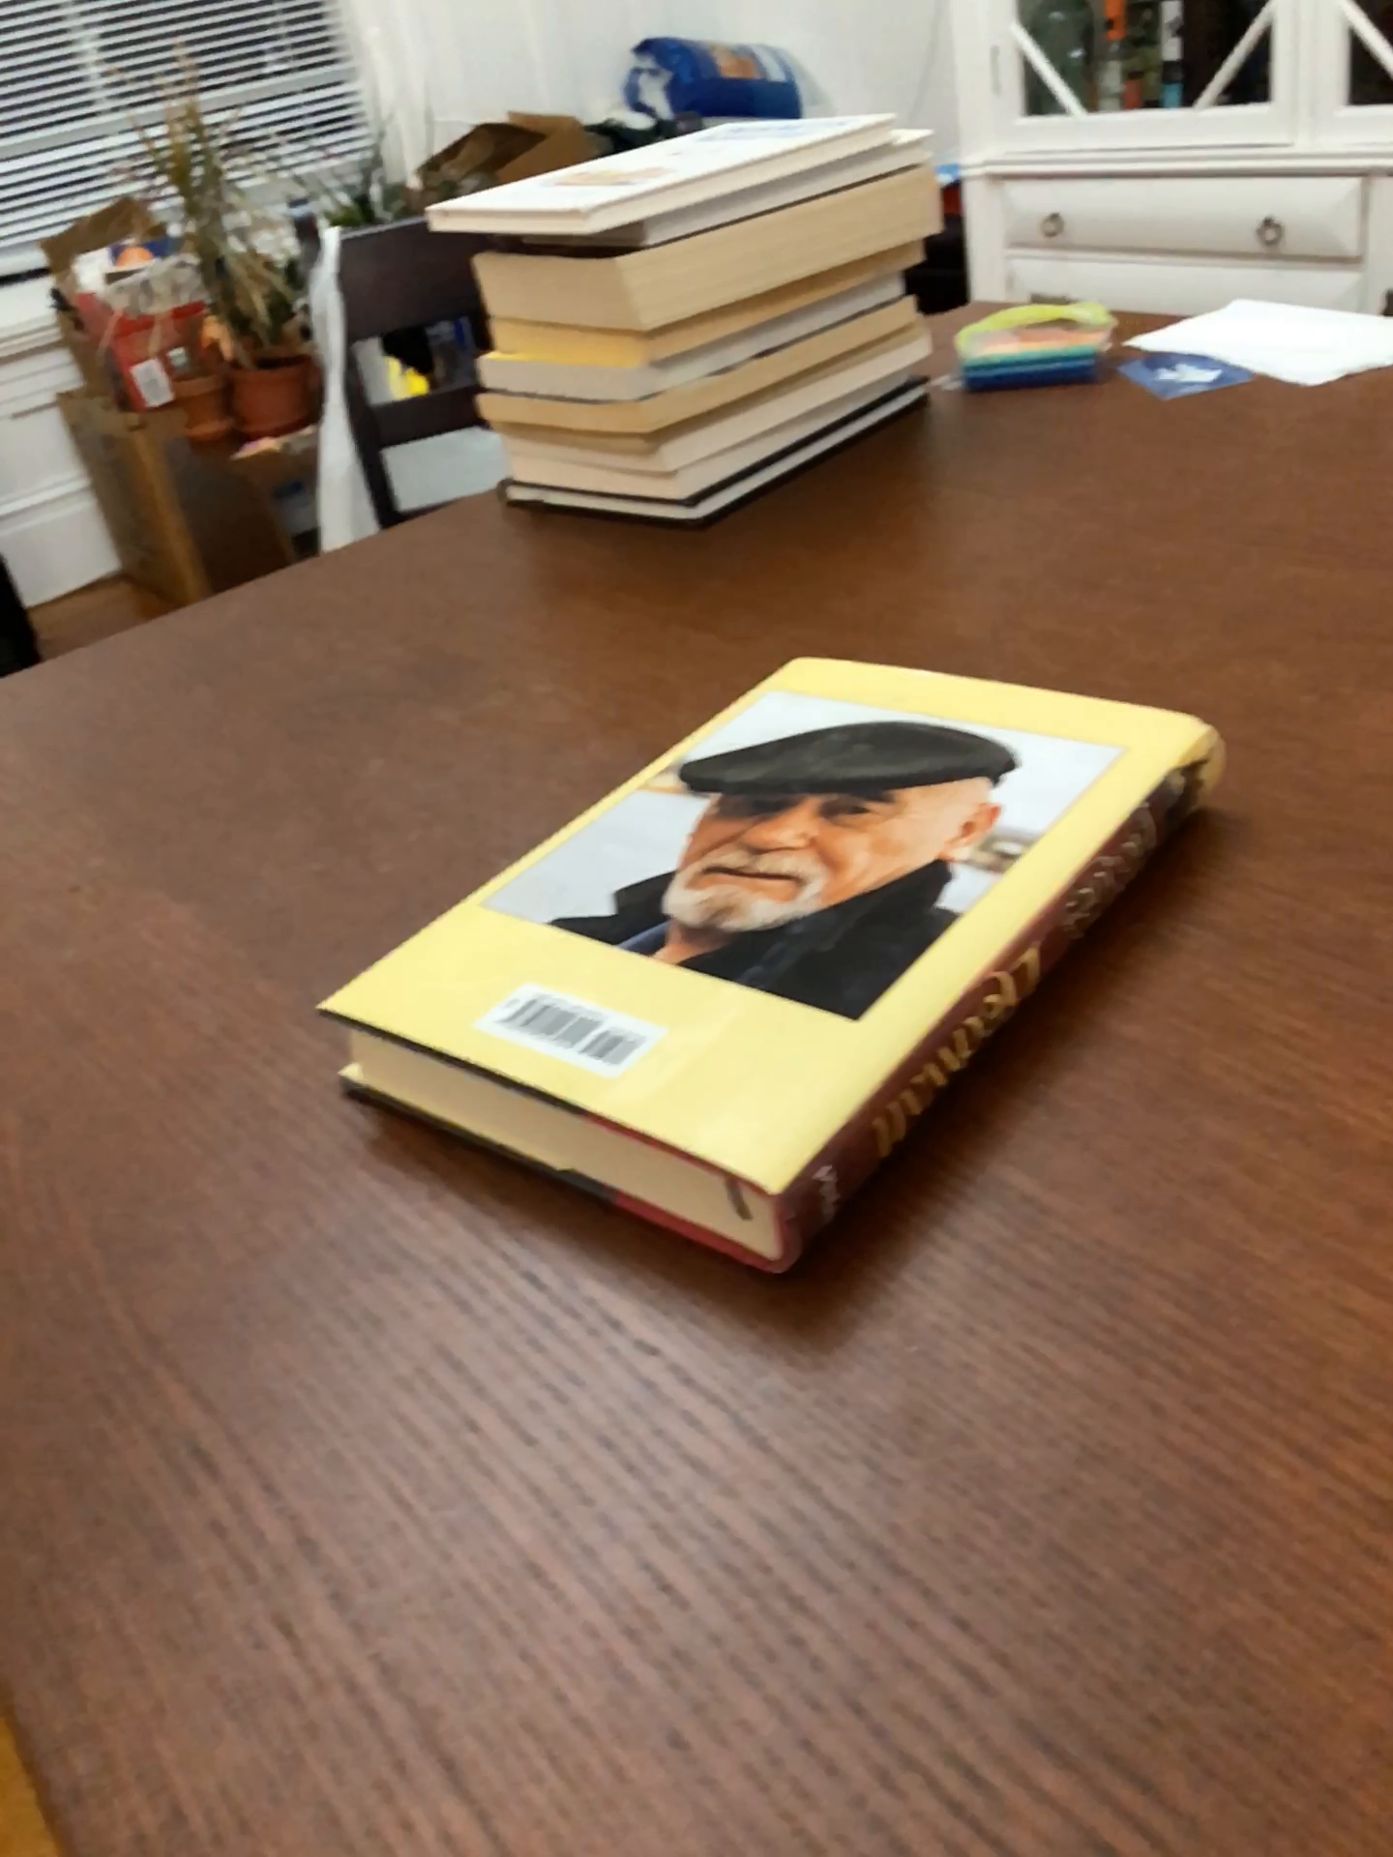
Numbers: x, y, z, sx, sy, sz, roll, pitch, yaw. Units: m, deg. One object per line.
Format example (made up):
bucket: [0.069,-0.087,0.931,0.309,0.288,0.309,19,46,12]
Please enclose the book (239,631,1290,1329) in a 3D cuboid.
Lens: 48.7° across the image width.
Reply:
book: [0.028,-0.014,0.445,0.190,0.030,0.251,16,41,37]
